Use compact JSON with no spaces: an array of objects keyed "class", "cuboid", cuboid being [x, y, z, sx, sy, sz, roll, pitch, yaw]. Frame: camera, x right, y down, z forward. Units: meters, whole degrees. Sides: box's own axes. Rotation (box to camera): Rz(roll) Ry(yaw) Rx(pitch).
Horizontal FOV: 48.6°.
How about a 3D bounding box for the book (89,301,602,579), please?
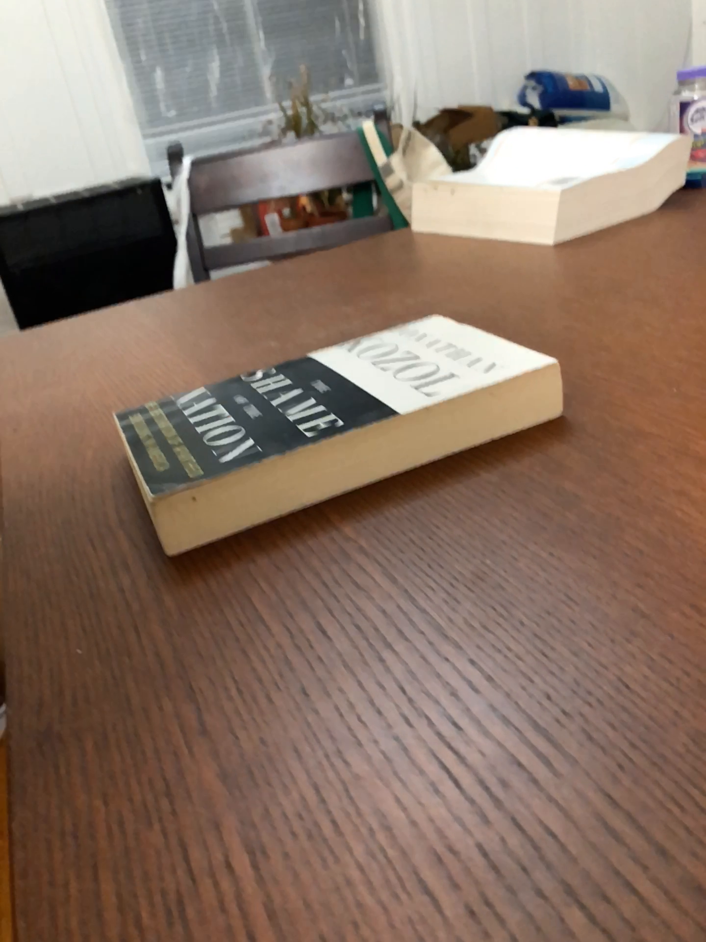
[{"class":"book","cuboid":[-0.015,-0.033,0.417,0.230,0.030,0.161,-19,27,-15]}]
